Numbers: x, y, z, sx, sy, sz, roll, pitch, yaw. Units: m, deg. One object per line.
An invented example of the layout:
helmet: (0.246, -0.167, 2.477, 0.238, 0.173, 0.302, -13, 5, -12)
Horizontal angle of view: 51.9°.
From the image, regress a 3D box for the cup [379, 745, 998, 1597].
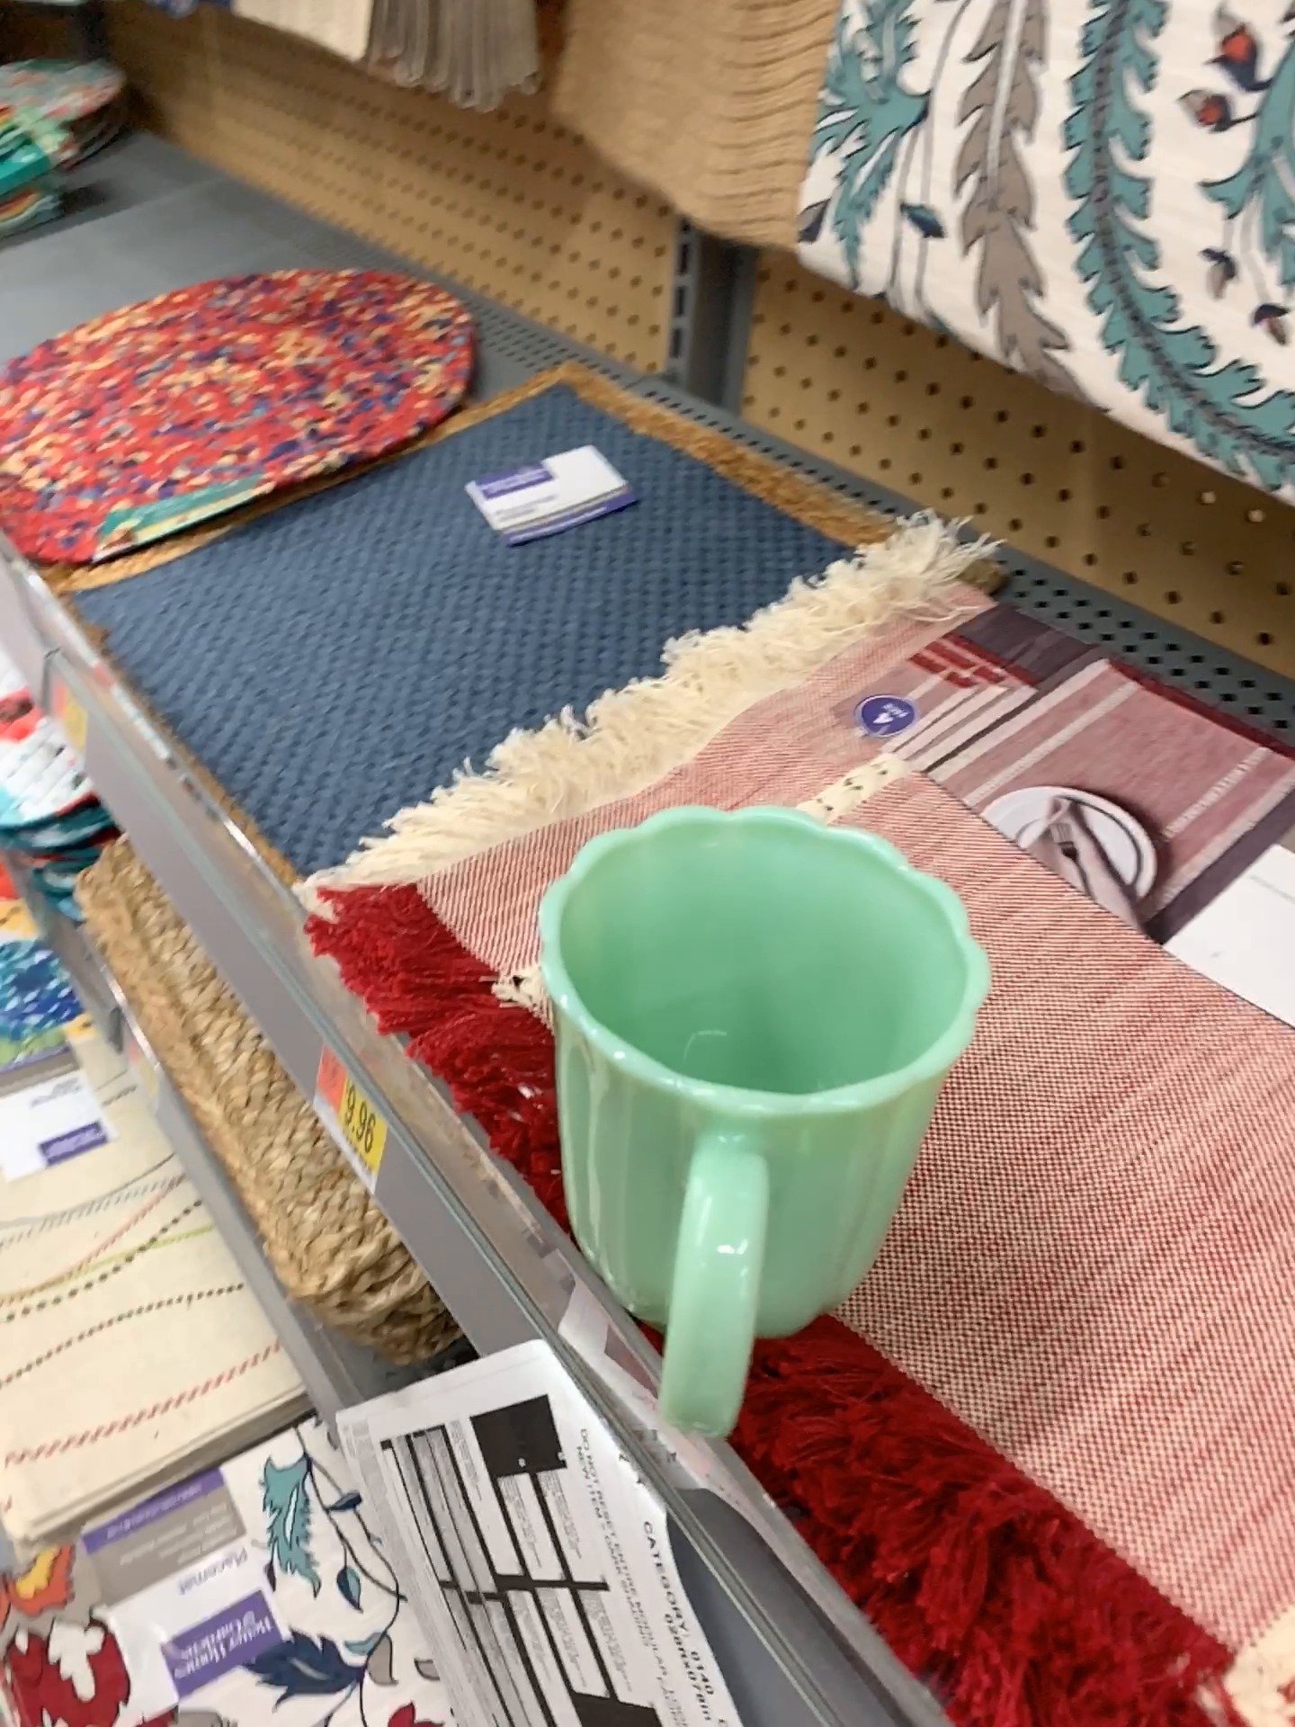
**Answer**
cup: (0.010, 0.053, 0.270, 0.090, 0.090, 0.131, 8, 36, 4)
